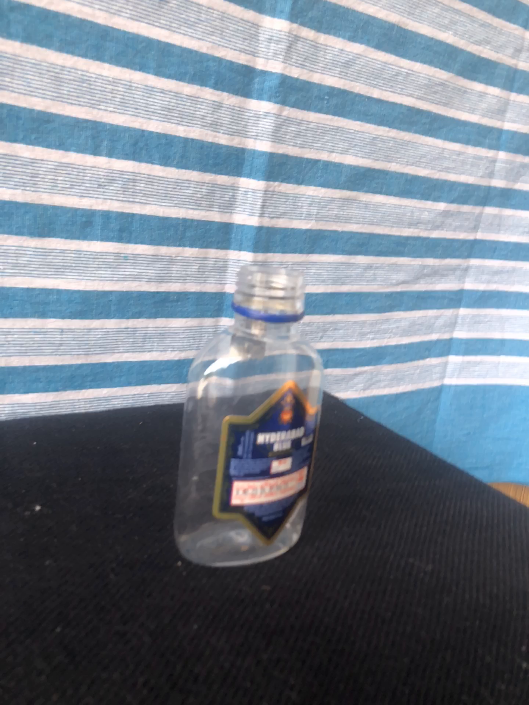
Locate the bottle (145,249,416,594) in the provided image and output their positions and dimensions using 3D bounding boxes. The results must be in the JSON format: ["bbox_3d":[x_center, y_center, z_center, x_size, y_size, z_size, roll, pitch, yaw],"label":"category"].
[{"bbox_3d":[0.002,0.021,0.208,0.060,0.100,0.050,-1,20,-35],"label":"bottle"}]
